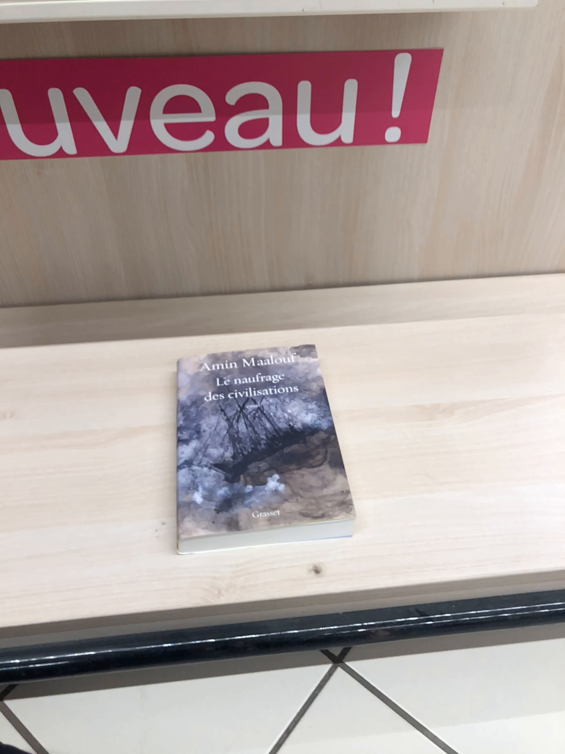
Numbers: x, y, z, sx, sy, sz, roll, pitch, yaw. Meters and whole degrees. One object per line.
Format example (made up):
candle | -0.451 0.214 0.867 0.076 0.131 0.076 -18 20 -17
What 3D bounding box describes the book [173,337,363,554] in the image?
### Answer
book | -0.023 0.050 0.565 0.147 0.026 0.212 -5 46 -6
